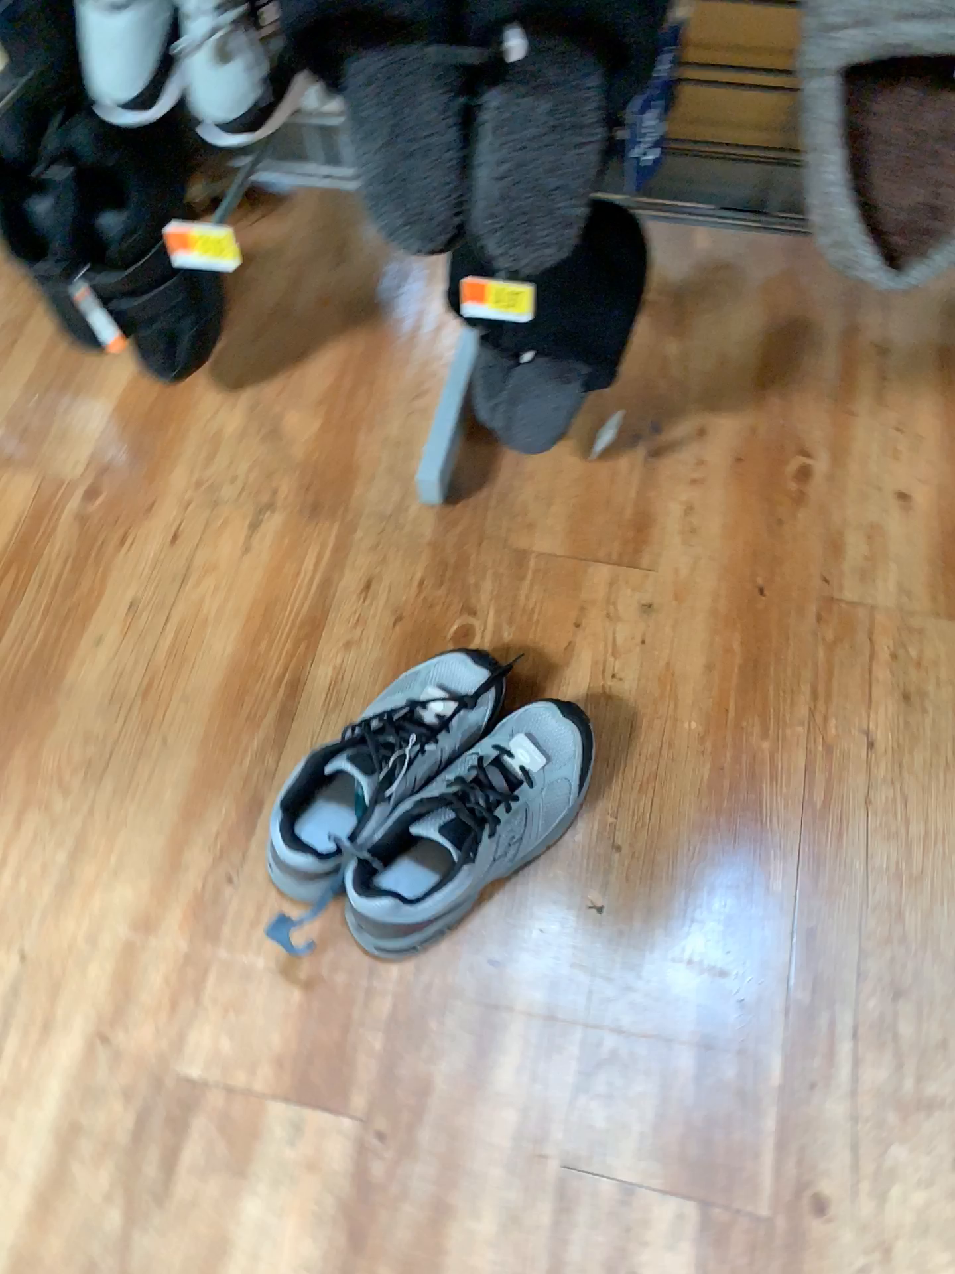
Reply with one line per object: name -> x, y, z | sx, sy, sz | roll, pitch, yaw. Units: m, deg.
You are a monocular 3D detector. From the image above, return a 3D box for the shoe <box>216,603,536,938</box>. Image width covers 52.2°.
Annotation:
shoe -> -0.089, 0.128, 0.966 | 0.123, 0.099, 0.309 | 38, 71, 20

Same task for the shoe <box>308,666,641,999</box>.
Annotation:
shoe -> 0.003, 0.182, 0.930 | 0.308, 0.089, 0.117 | -41, 68, -17
